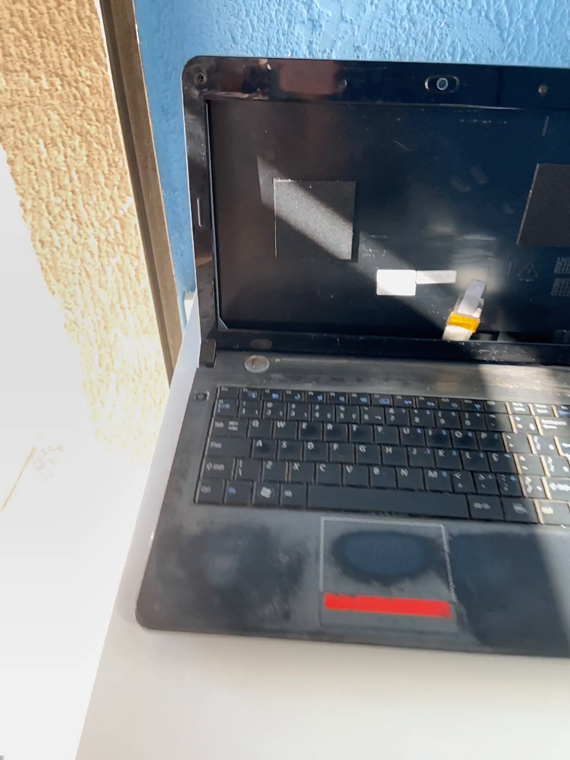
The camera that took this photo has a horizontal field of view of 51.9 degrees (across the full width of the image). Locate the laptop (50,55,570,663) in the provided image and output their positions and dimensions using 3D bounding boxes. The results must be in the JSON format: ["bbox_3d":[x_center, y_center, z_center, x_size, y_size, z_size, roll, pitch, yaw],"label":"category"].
[{"bbox_3d":[0.092,-0.029,0.360,0.334,0.216,0.277,3,44,2],"label":"laptop"}]
